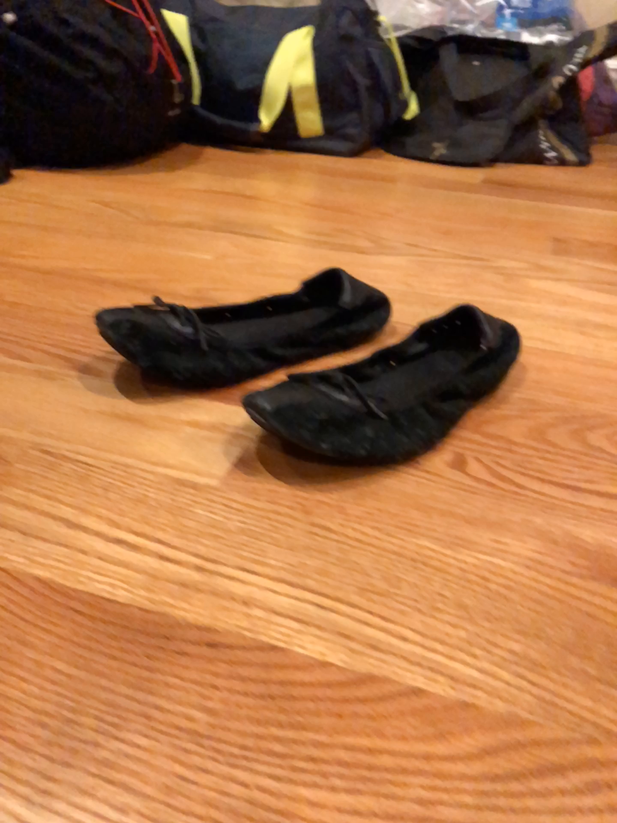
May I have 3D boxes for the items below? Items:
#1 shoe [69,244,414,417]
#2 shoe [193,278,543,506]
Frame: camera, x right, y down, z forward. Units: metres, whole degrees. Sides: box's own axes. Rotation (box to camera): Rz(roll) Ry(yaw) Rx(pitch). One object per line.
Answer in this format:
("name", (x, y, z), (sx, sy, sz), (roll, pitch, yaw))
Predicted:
("shoe", (-0.042, -0.068, 0.489), (0.221, 0.050, 0.100), (-18, 36, -32))
("shoe", (0.046, -0.027, 0.427), (0.093, 0.046, 0.221), (29, 38, 36))
